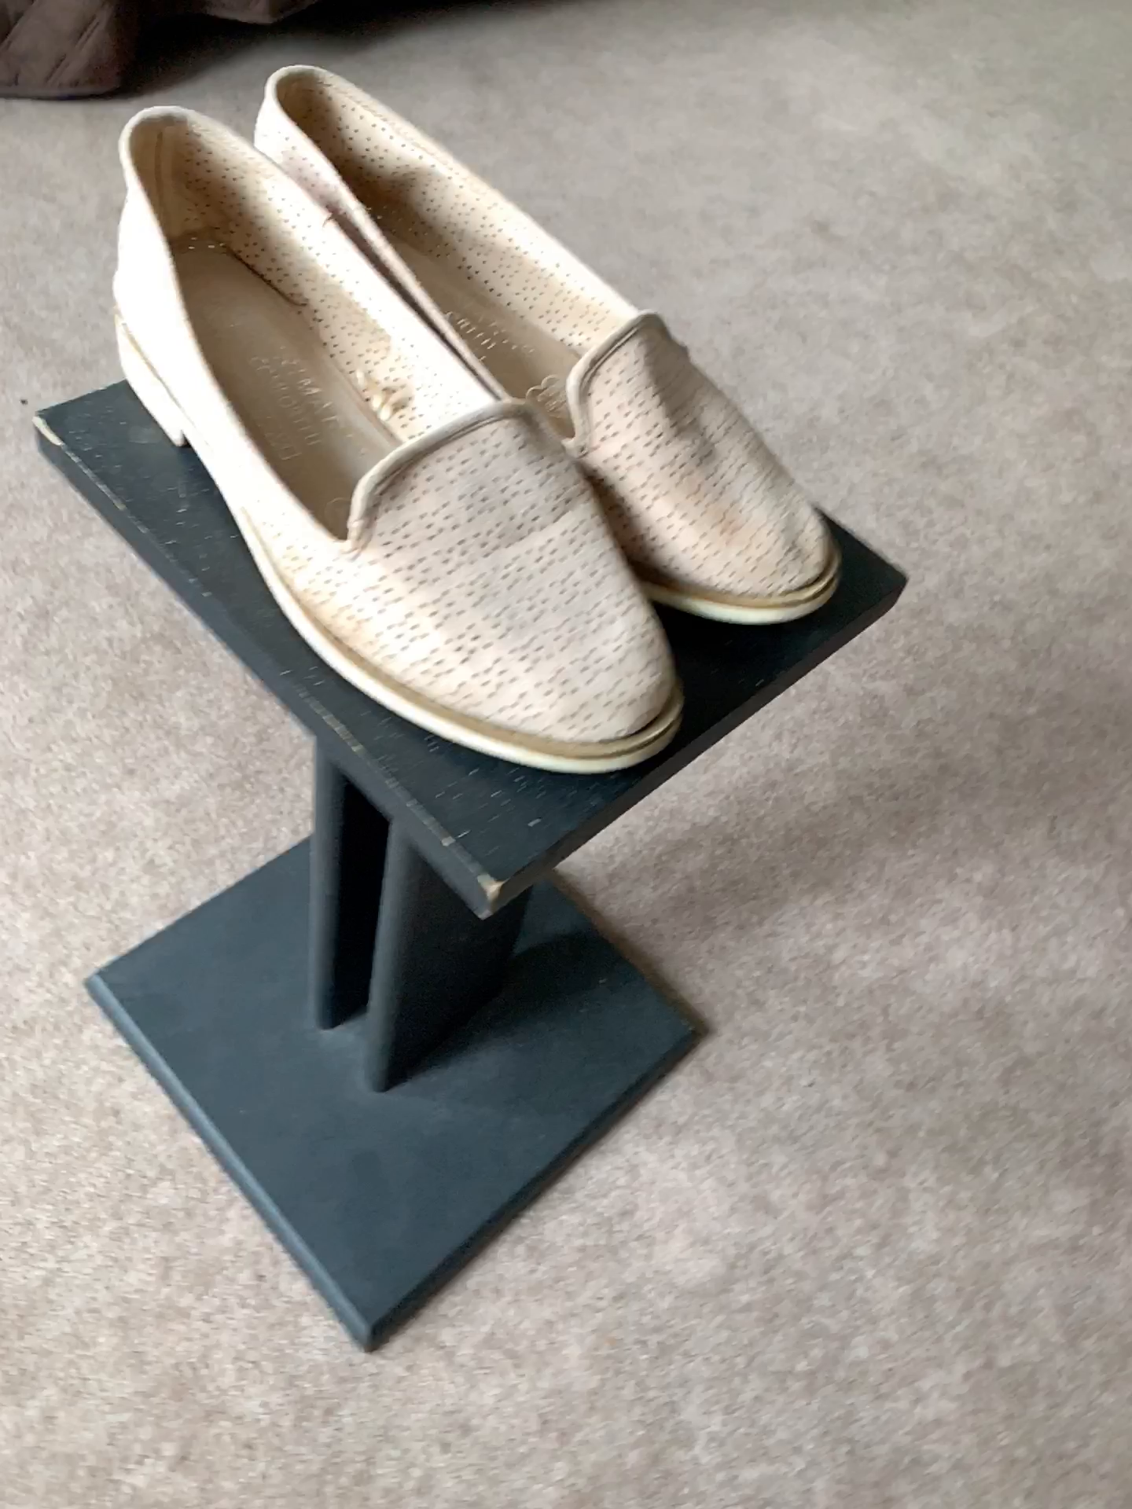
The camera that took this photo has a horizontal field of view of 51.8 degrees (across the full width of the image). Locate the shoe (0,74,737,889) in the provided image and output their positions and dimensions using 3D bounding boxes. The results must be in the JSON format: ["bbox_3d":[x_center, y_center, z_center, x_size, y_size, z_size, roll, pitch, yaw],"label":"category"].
[{"bbox_3d":[-0.070,-0.091,0.365,0.080,0.079,0.251,-31,74,-29],"label":"shoe"}]

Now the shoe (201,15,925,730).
[{"bbox_3d":[-0.009,-0.135,0.409,0.250,0.079,0.081,44,57,7],"label":"shoe"}]
